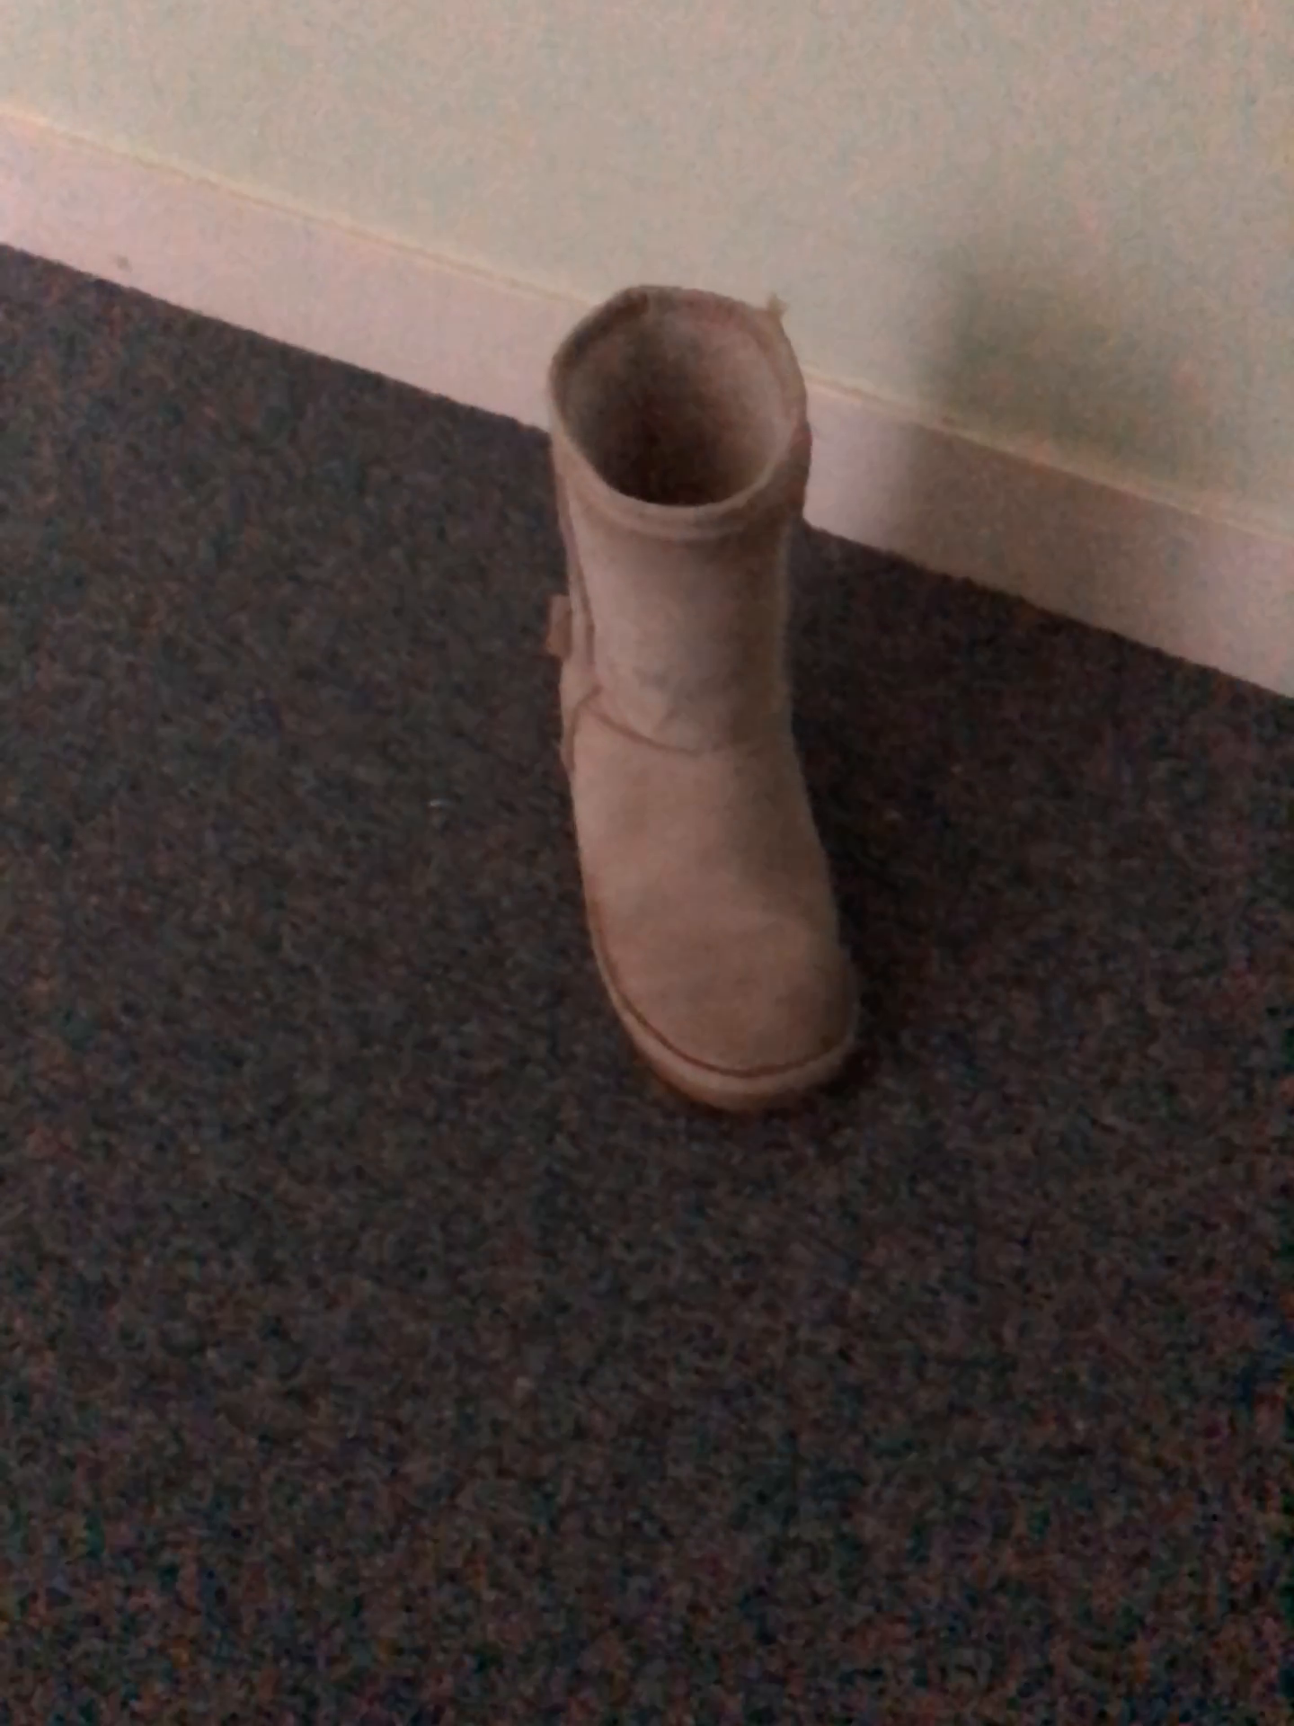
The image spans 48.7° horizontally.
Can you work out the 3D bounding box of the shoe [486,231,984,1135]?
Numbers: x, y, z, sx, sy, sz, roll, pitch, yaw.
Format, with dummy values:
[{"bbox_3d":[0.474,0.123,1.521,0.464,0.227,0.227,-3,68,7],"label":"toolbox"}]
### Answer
[{"bbox_3d":[0.019,-0.069,0.562,0.120,0.209,0.271,-7,56,-4],"label":"shoe"}]
